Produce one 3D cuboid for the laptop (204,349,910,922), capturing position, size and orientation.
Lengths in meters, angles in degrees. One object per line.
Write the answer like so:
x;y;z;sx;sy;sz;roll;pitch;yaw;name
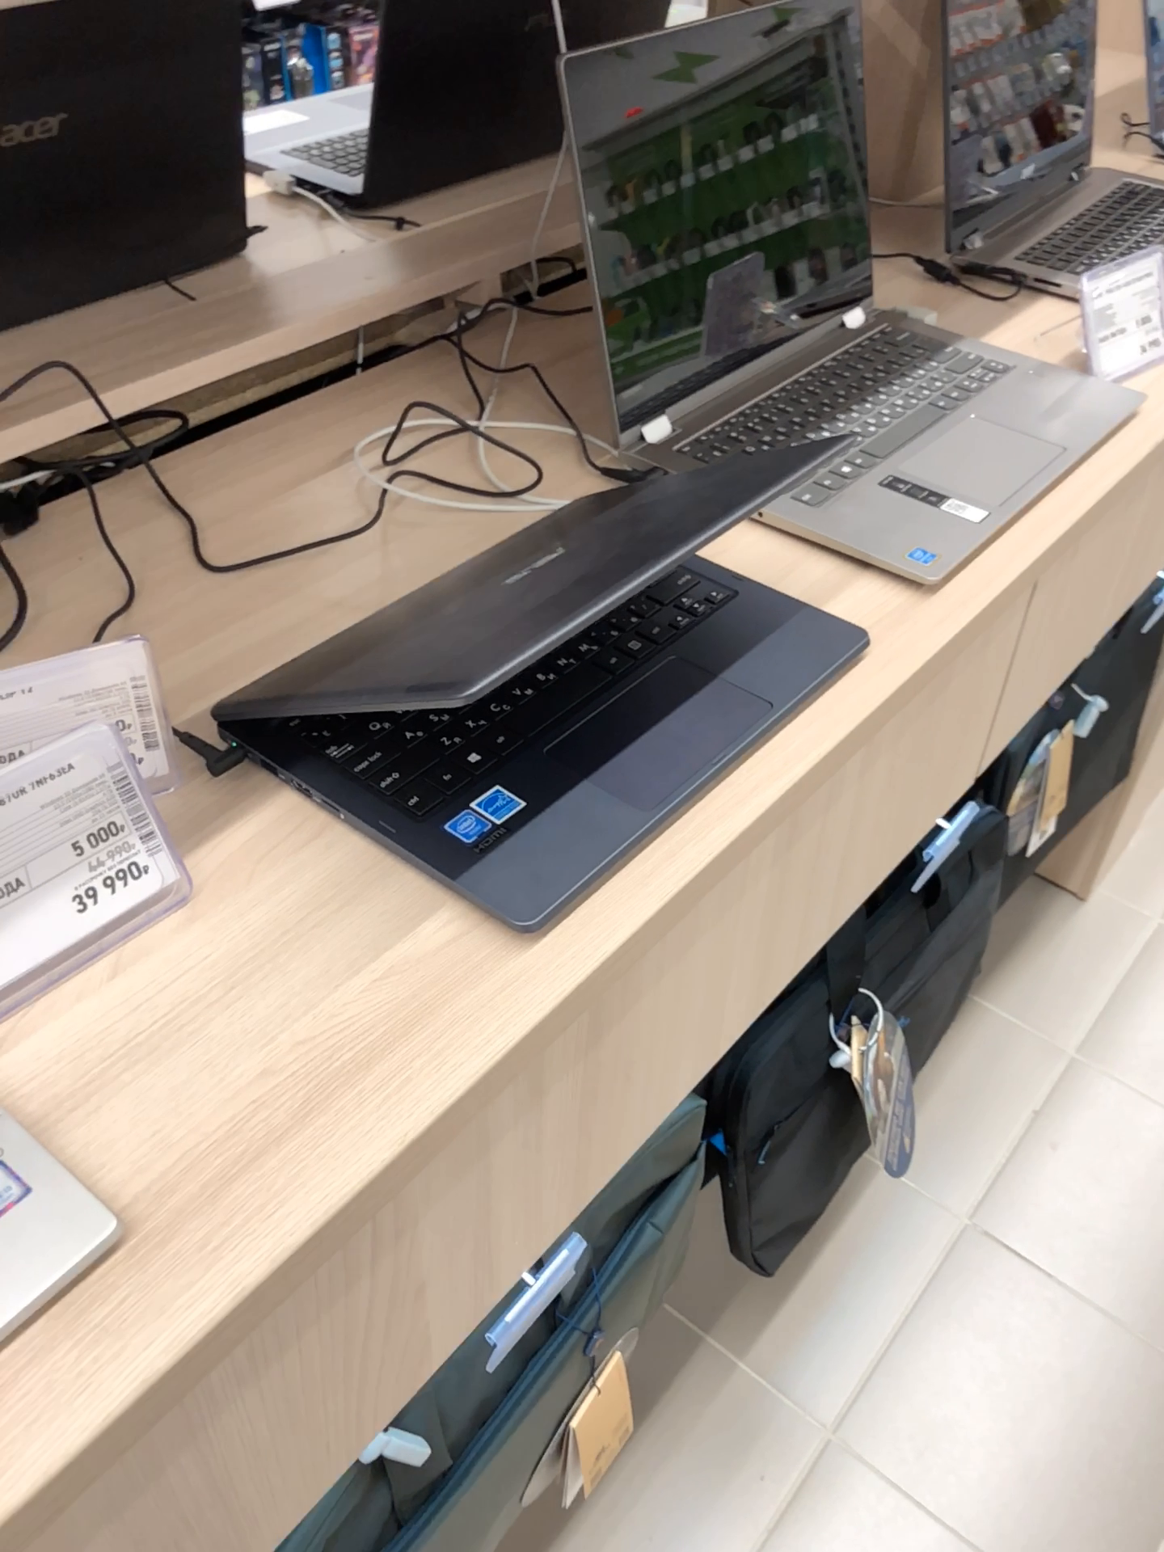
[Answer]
-0.002;-0.087;0.603;0.185;0.097;0.272;30;48;27;laptop
